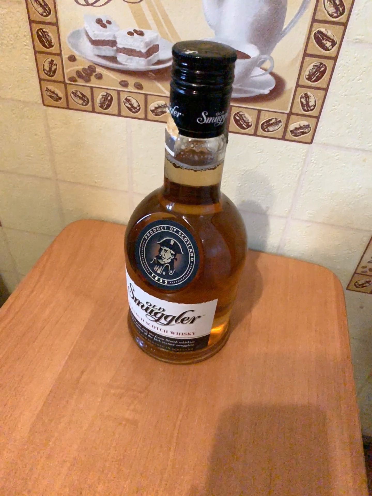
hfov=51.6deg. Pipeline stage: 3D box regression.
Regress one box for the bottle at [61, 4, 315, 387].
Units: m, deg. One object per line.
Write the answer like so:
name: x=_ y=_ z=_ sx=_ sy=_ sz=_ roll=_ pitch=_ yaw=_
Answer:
bottle: x=-0.003 y=-0.021 z=0.262 sx=0.100 sy=0.229 sz=0.080 roll=21 pitch=42 yaw=18
